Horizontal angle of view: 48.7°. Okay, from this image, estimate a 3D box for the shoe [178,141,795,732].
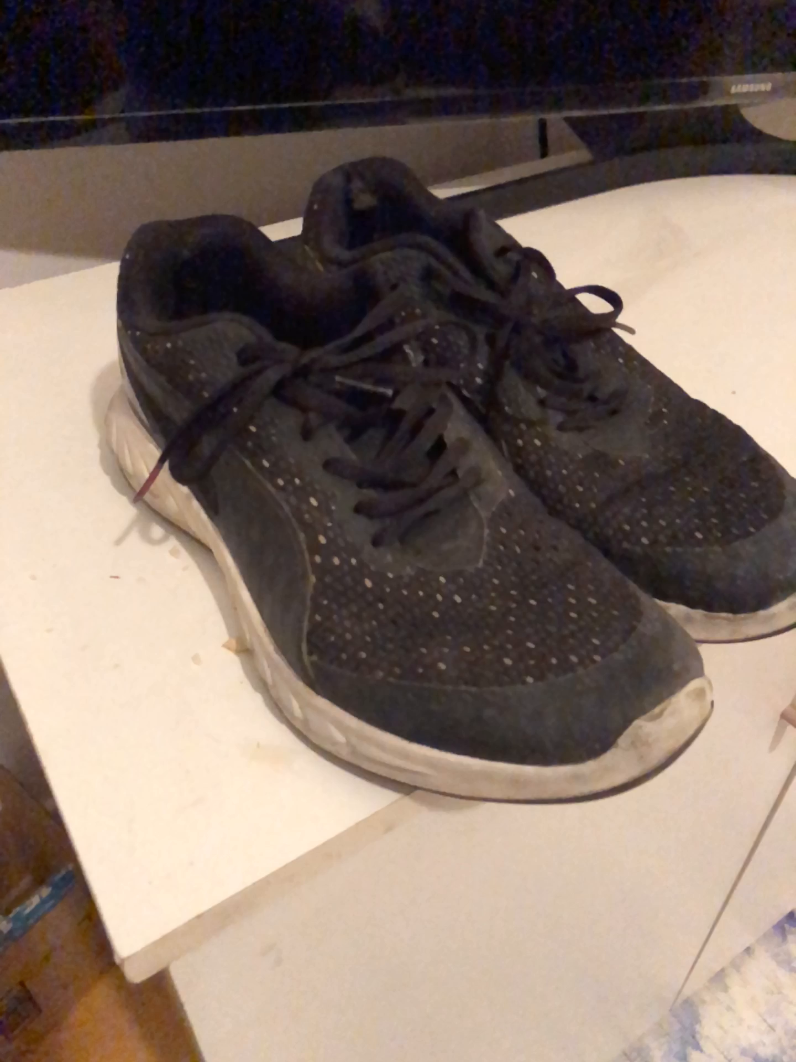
[{"bbox_3d":[0.045,-0.070,0.389,0.120,0.099,0.310,-31,50,-31],"label":"shoe"}]

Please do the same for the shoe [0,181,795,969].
[{"bbox_3d":[-0.038,-0.022,0.321,0.120,0.099,0.310,-31,50,-31],"label":"shoe"}]
